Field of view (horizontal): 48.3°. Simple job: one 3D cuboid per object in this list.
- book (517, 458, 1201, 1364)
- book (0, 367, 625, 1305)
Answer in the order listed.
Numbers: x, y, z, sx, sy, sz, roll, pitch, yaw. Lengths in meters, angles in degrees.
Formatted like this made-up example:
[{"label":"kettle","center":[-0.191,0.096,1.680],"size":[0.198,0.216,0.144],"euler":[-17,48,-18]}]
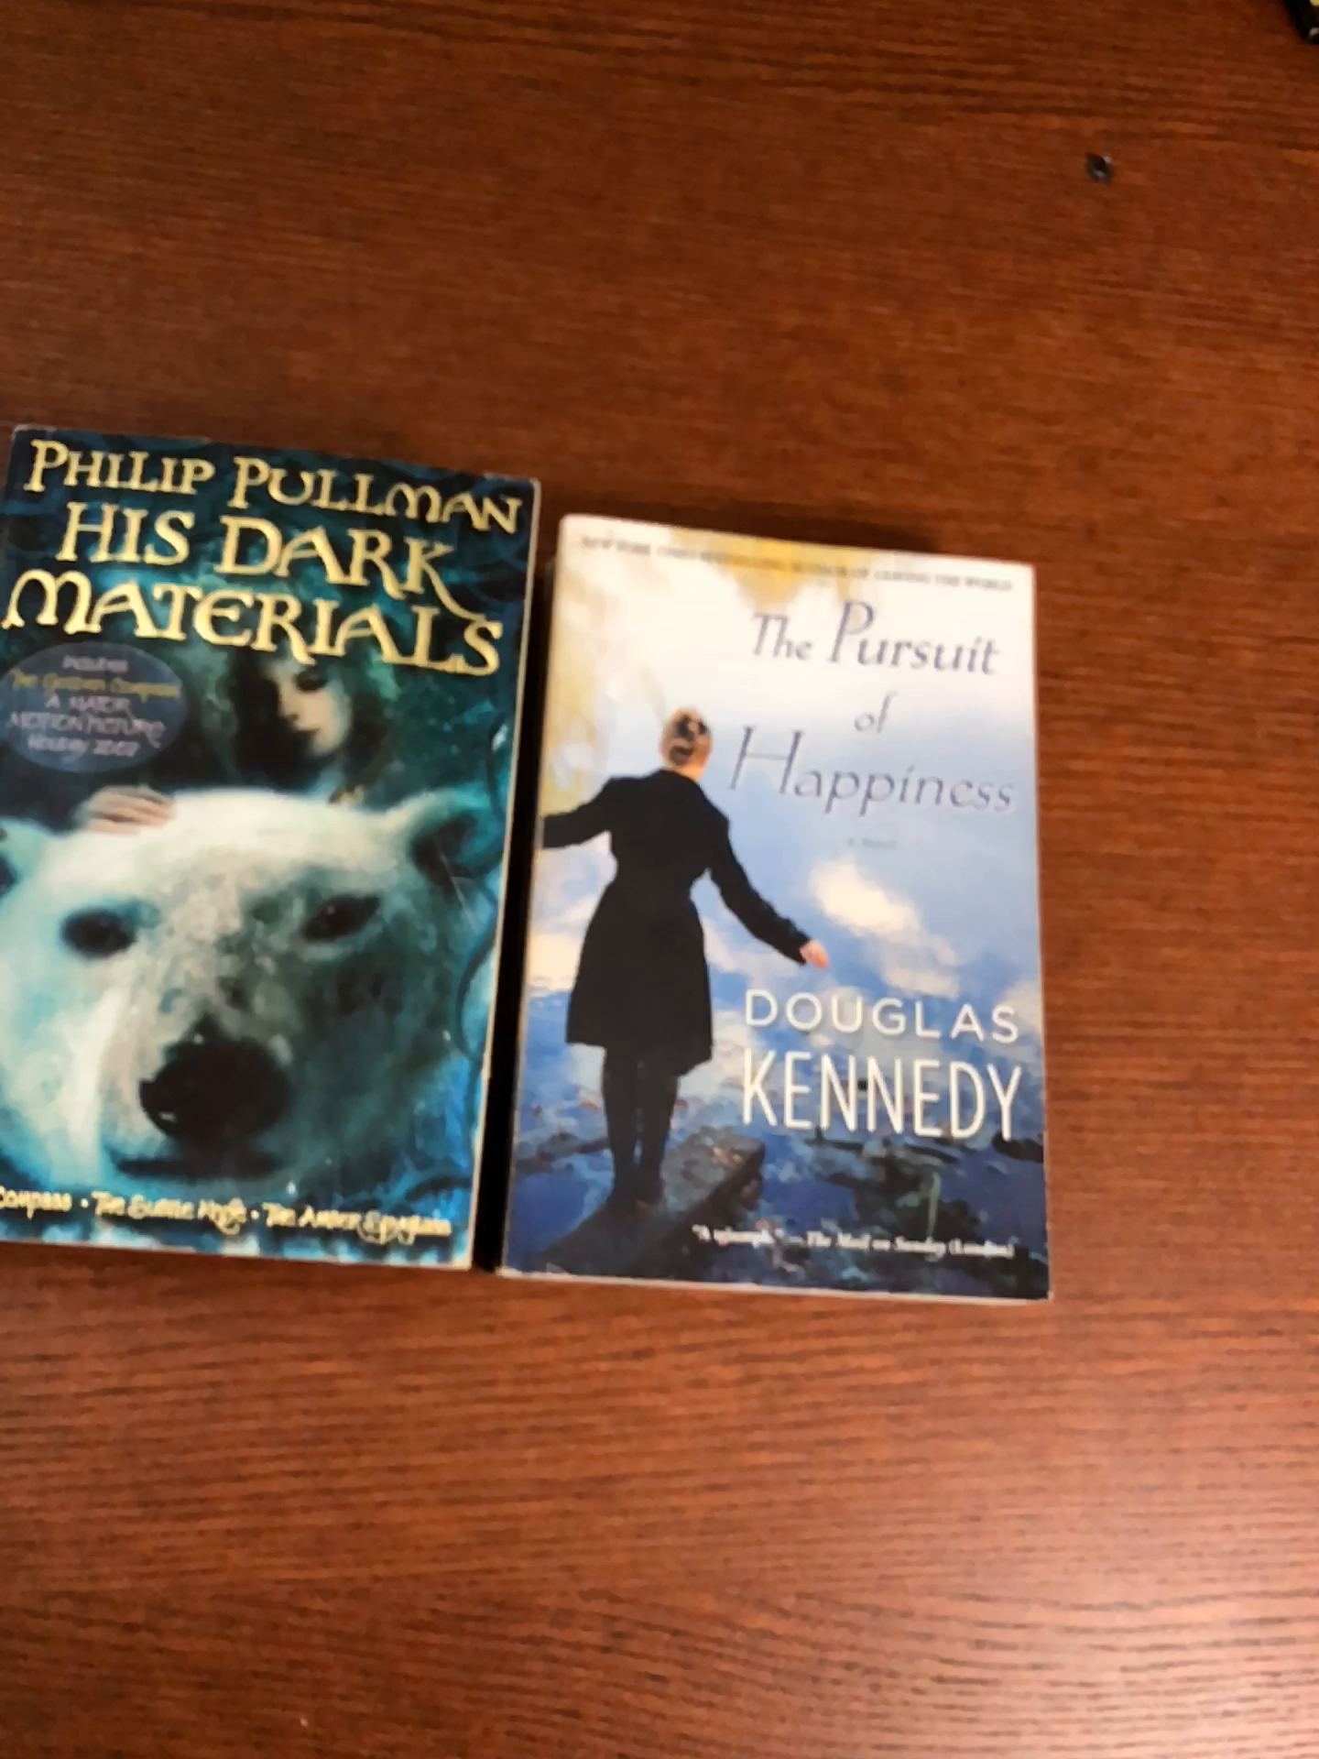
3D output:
[{"label":"book","center":[0.058,0.007,0.435],"size":[0.180,0.040,0.250],"euler":[5,73,-7]},{"label":"book","center":[-0.109,-0.013,0.422],"size":[0.180,0.050,0.250],"euler":[5,73,-7]}]
